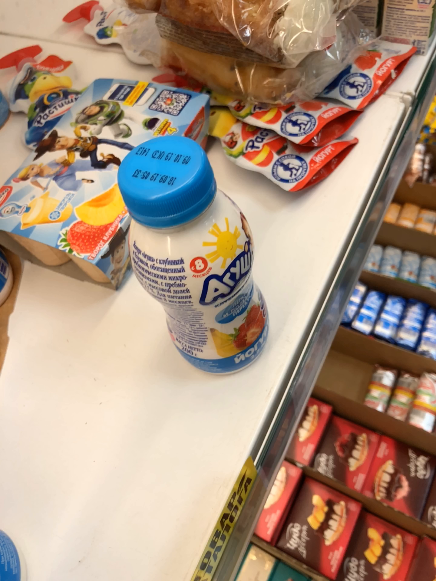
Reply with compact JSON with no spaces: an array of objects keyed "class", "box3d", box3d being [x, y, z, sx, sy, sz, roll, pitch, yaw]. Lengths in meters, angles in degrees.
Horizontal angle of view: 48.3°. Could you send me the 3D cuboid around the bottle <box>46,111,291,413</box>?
[{"class":"bottle","box3d":[-0.010,-0.004,0.229,0.060,0.129,0.060,-6,56,8]}]
